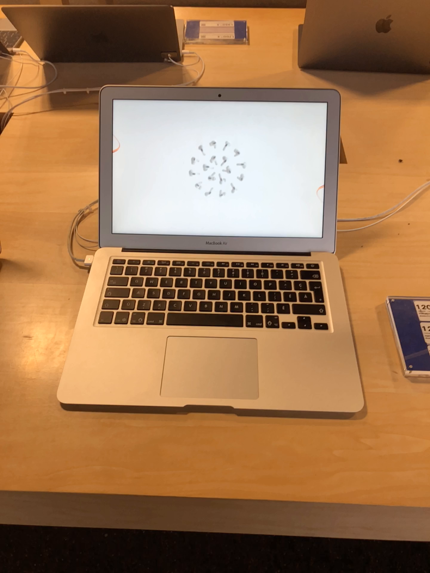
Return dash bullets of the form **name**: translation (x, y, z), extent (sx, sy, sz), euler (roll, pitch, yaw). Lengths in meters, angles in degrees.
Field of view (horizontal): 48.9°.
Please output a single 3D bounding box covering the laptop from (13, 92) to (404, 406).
- **laptop**: translation (0.000, -0.067, 0.558), extent (0.311, 0.151, 0.373), euler (1, 48, 1)
